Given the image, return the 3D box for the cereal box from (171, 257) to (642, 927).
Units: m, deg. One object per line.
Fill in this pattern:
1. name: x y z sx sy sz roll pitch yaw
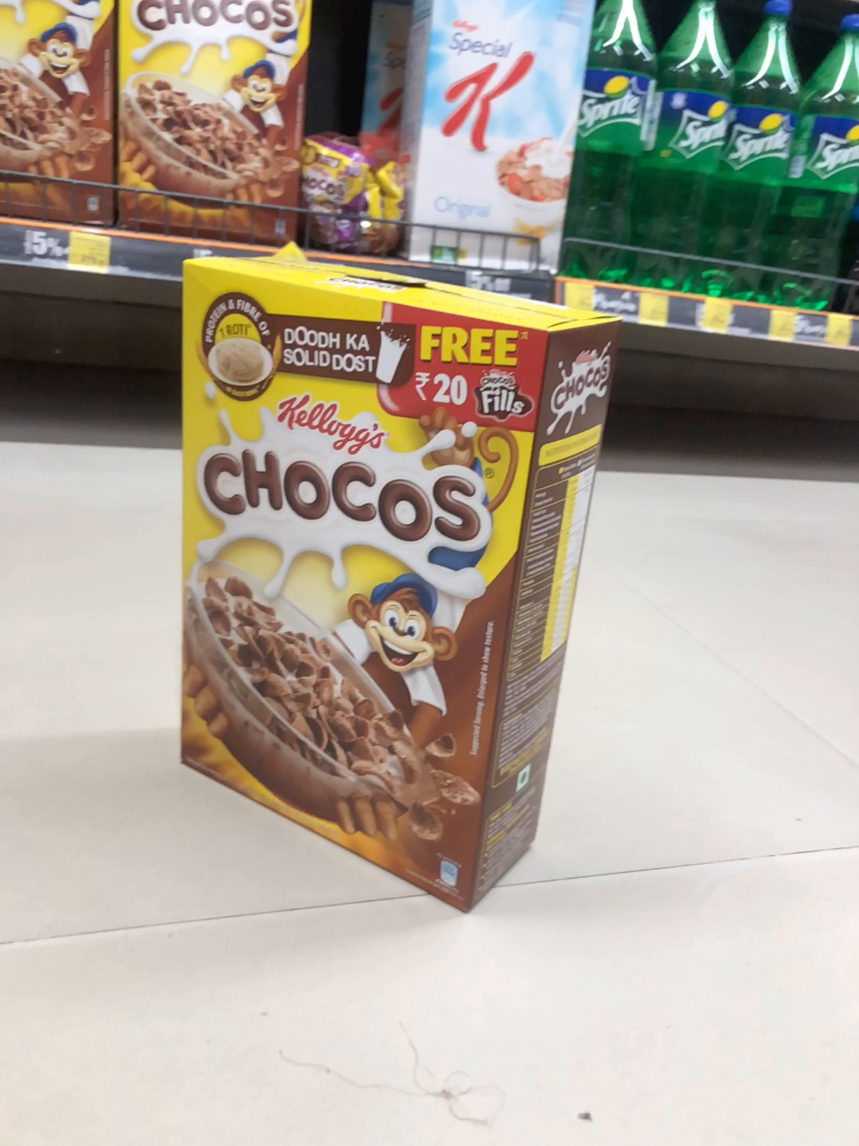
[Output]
1. cereal box: -0.026 0.001 0.443 0.190 0.259 0.070 19 26 28
